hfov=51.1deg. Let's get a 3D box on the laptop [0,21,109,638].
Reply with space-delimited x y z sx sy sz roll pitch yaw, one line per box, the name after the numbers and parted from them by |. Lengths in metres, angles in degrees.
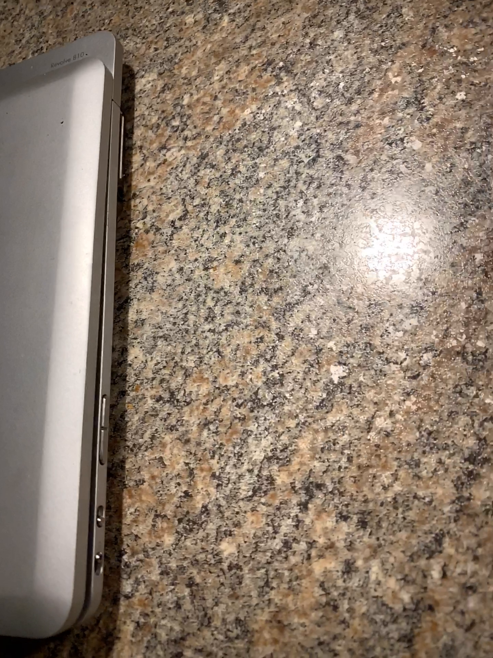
-0.173 0.001 0.198 0.267 0.005 0.194 -9 69 19 | laptop
